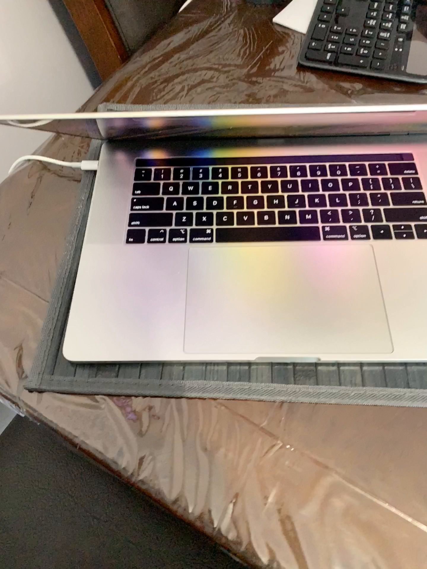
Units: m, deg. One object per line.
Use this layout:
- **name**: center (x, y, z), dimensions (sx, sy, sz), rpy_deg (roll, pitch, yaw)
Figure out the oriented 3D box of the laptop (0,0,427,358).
- **laptop**: center (0.053, -0.087, 0.317), dimensions (0.339, 0.164, 0.234), rpy_deg (0, 60, 2)
